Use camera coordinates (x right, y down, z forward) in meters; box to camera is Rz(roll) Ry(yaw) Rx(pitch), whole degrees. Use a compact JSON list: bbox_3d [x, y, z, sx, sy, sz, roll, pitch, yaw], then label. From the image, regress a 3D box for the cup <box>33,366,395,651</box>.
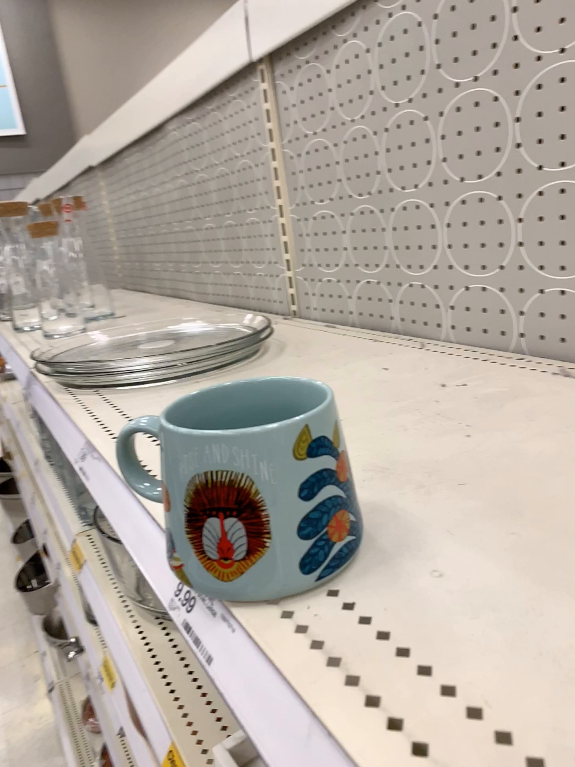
[{"bbox_3d":[-0.029,0.052,0.320,0.140,0.090,0.120,-1,17,25],"label":"cup"}]
